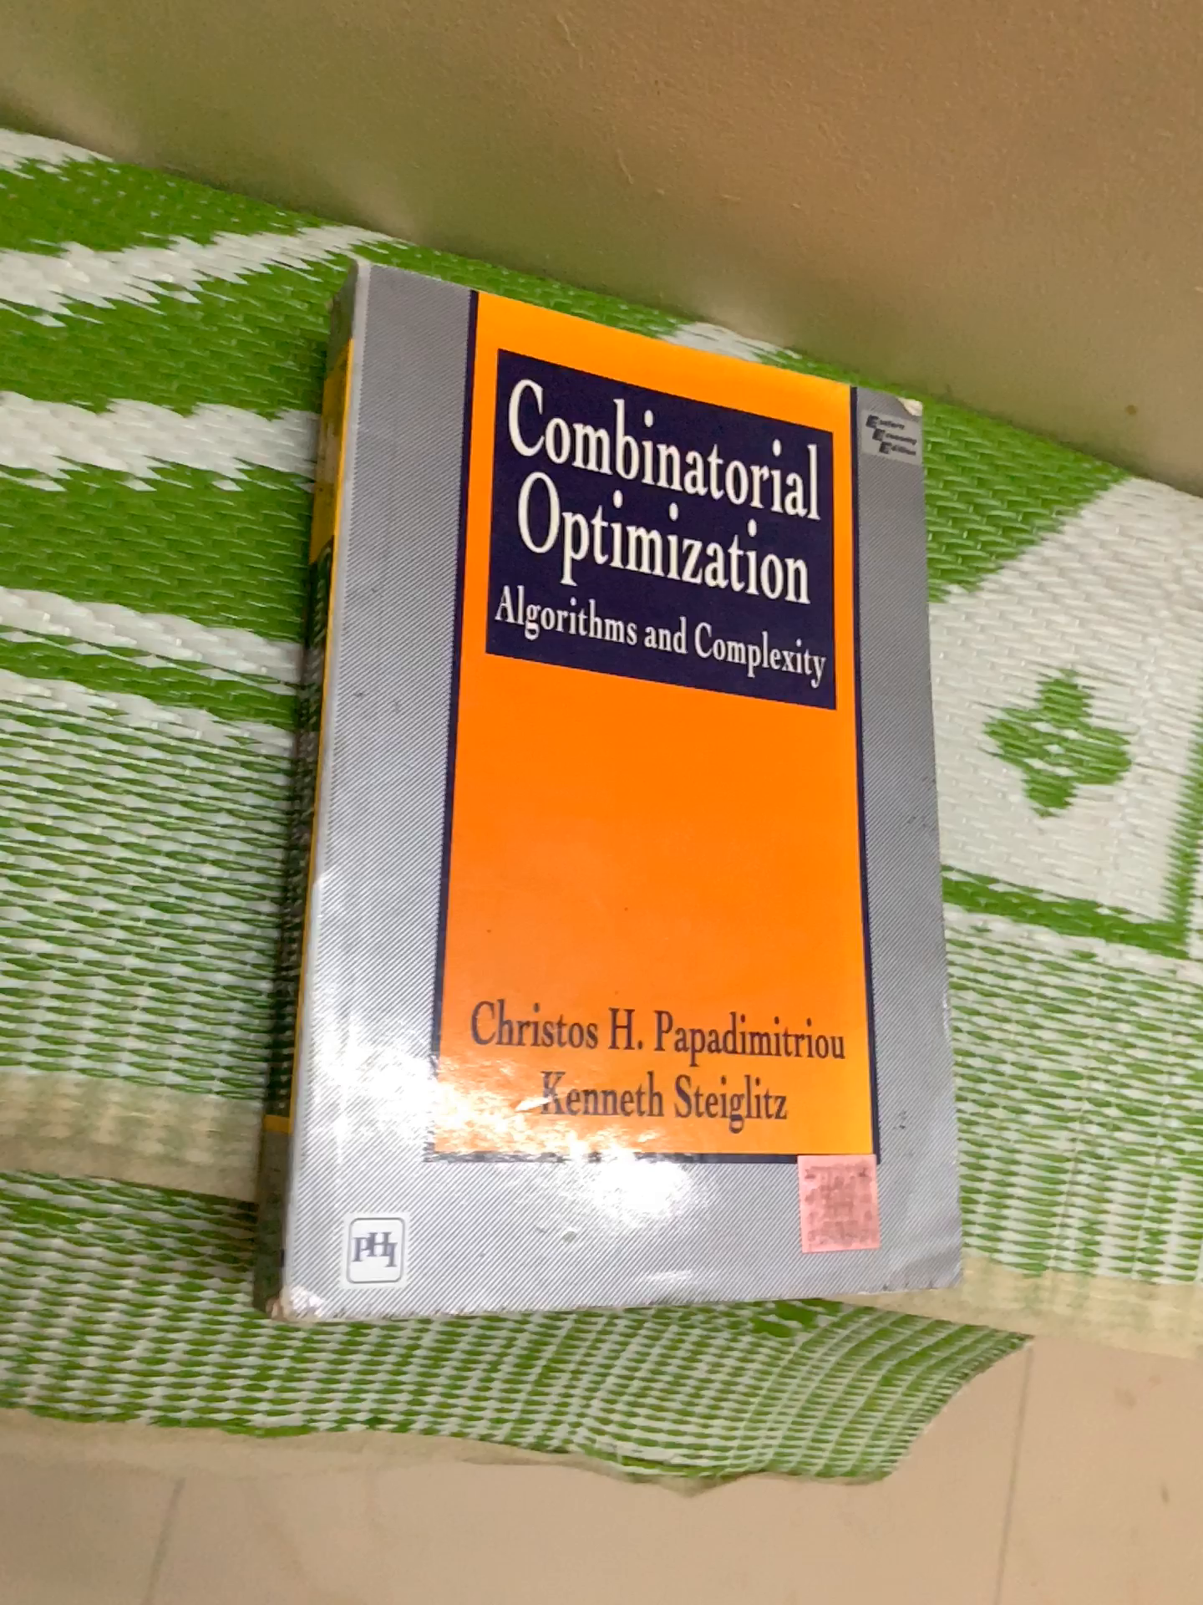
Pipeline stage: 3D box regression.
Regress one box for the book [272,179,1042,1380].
[{"bbox_3d":[0.017,-0.009,0.316,0.170,0.040,0.270,7,71,-23],"label":"book"}]
